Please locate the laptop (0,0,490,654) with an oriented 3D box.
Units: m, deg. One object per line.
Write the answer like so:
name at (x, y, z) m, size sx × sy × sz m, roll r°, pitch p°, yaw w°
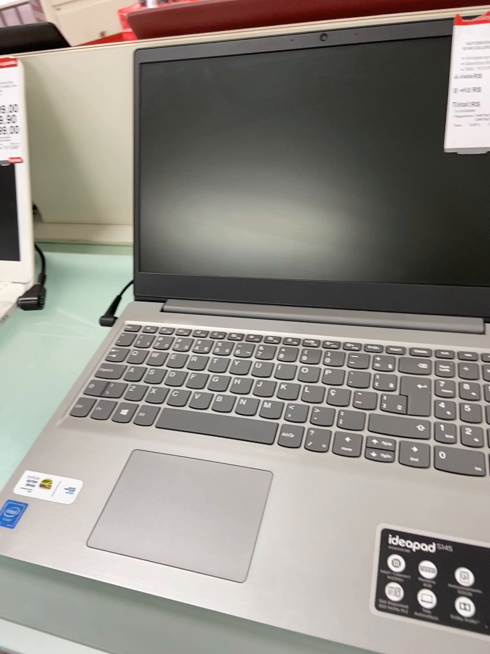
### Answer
laptop at (0.027, -0.050, 0.353) m, size 0.367 × 0.189 × 0.403 m, roll 4°, pitch 44°, yaw 18°
